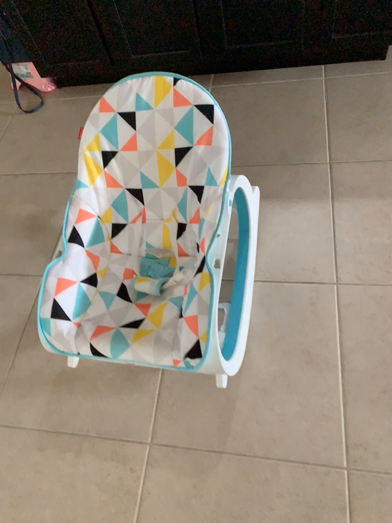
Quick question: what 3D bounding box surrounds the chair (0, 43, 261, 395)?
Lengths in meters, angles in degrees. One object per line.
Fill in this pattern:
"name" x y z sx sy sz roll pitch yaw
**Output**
"chair" -0.129 -0.102 1.062 0.531 0.486 0.735 1 60 14
